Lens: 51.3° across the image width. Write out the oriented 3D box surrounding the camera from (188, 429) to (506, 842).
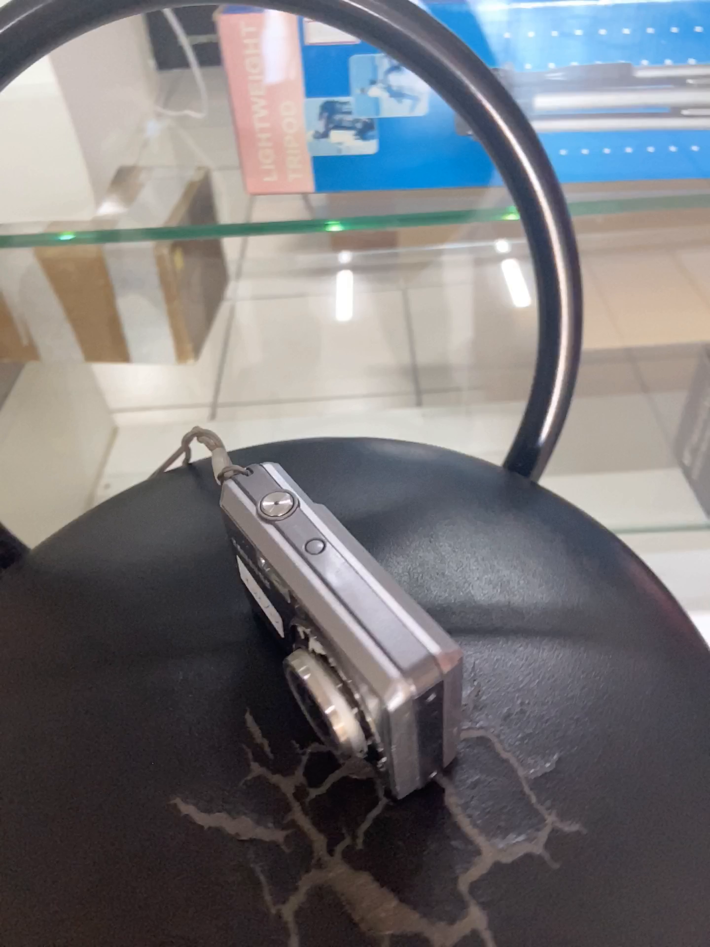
[{"bbox_3d":[-0.004,0.044,0.218,0.040,0.070,0.090,-28,47,-22],"label":"camera"}]
